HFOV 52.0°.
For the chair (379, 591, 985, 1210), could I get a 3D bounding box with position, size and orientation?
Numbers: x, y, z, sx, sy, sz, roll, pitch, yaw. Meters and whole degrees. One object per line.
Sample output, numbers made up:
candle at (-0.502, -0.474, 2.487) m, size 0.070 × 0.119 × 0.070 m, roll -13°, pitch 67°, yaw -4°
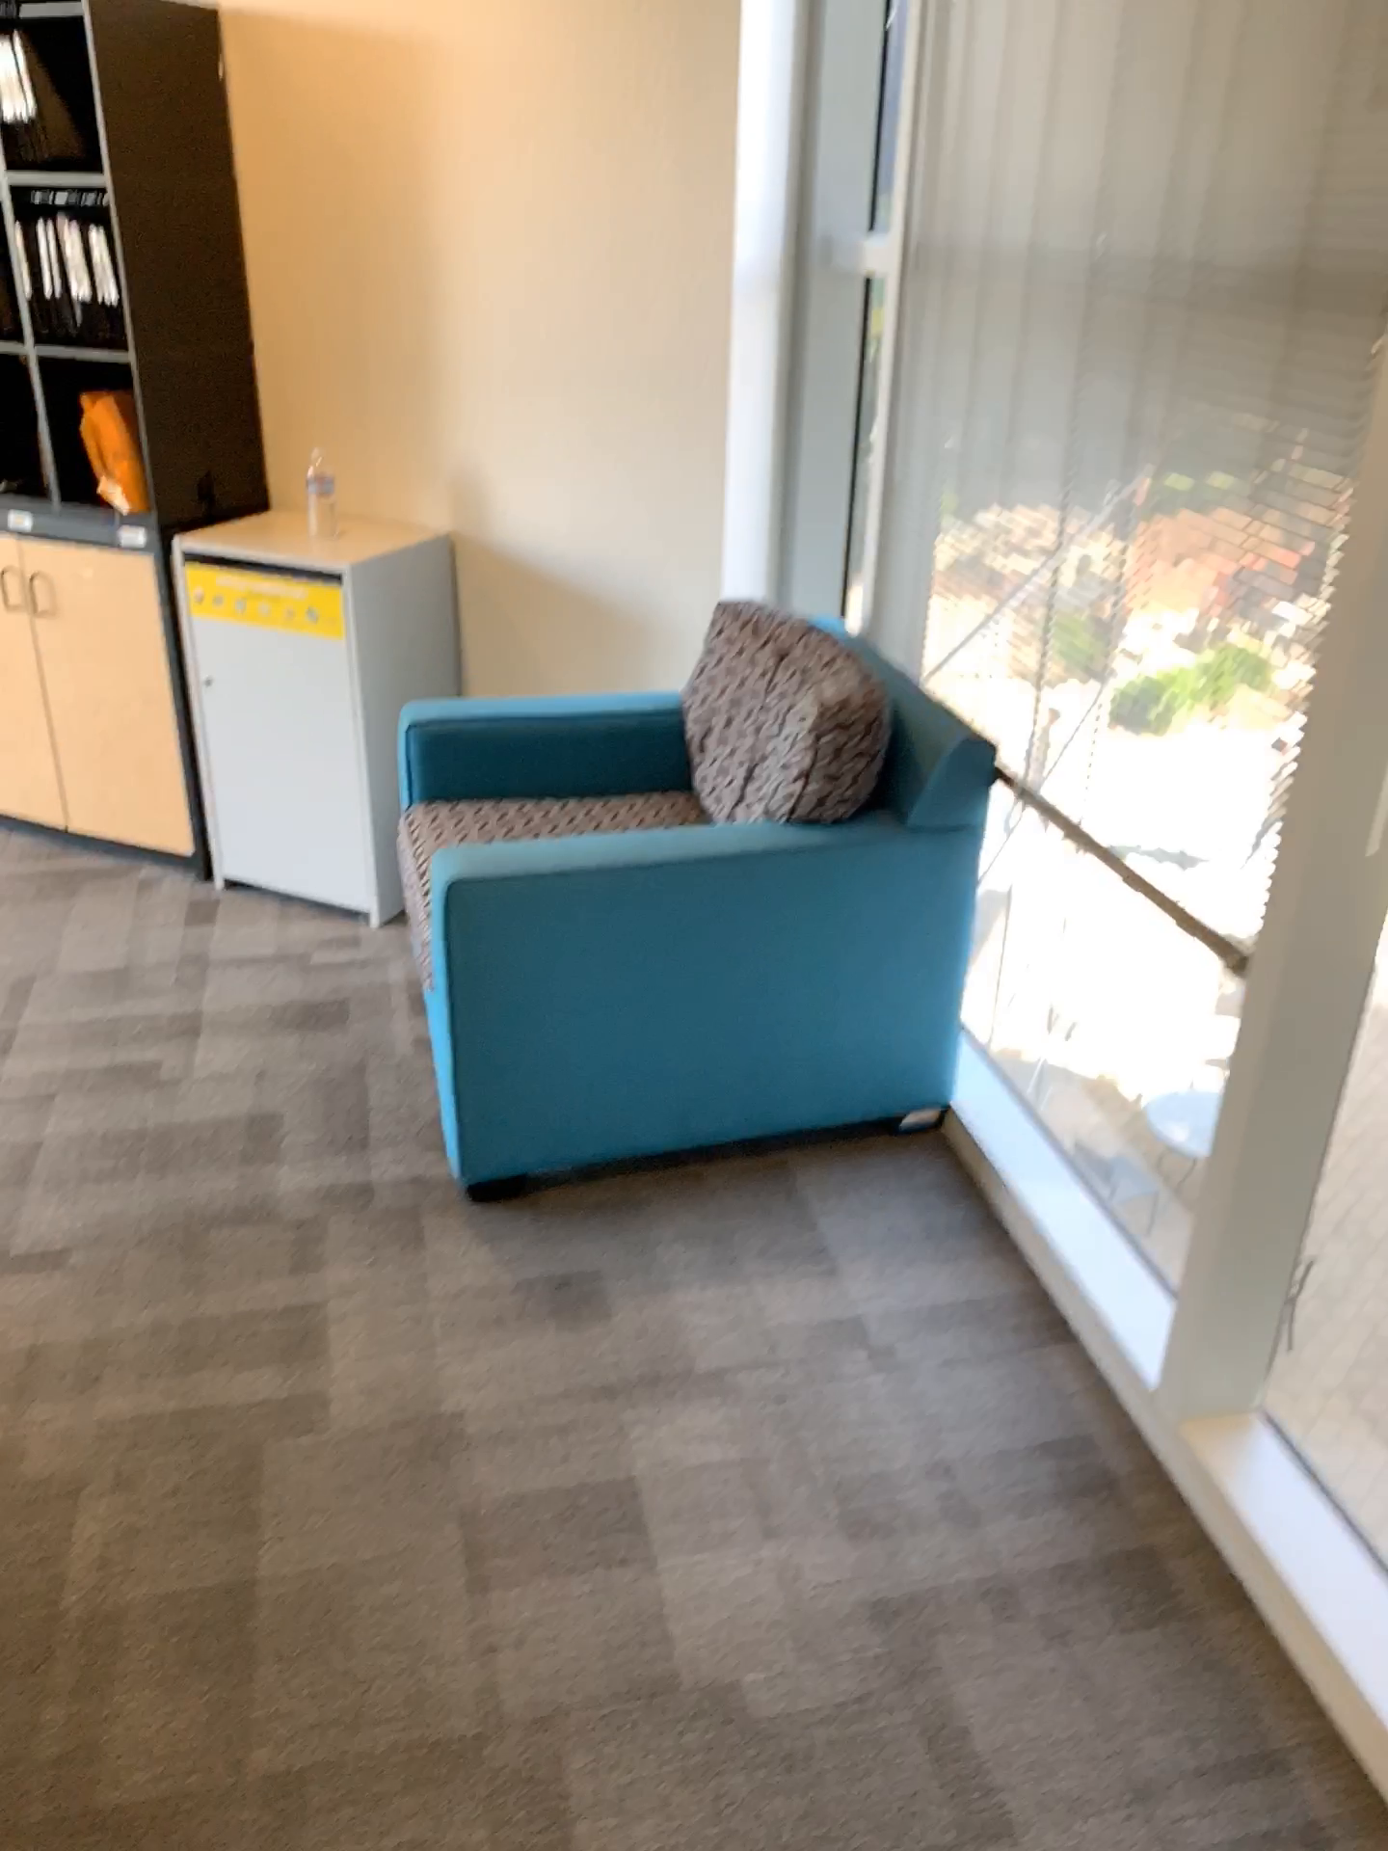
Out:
chair at (-0.095, -0.118, 2.777) m, size 0.920 × 0.826 × 0.915 m, roll -5°, pitch 27°, yaw -13°
